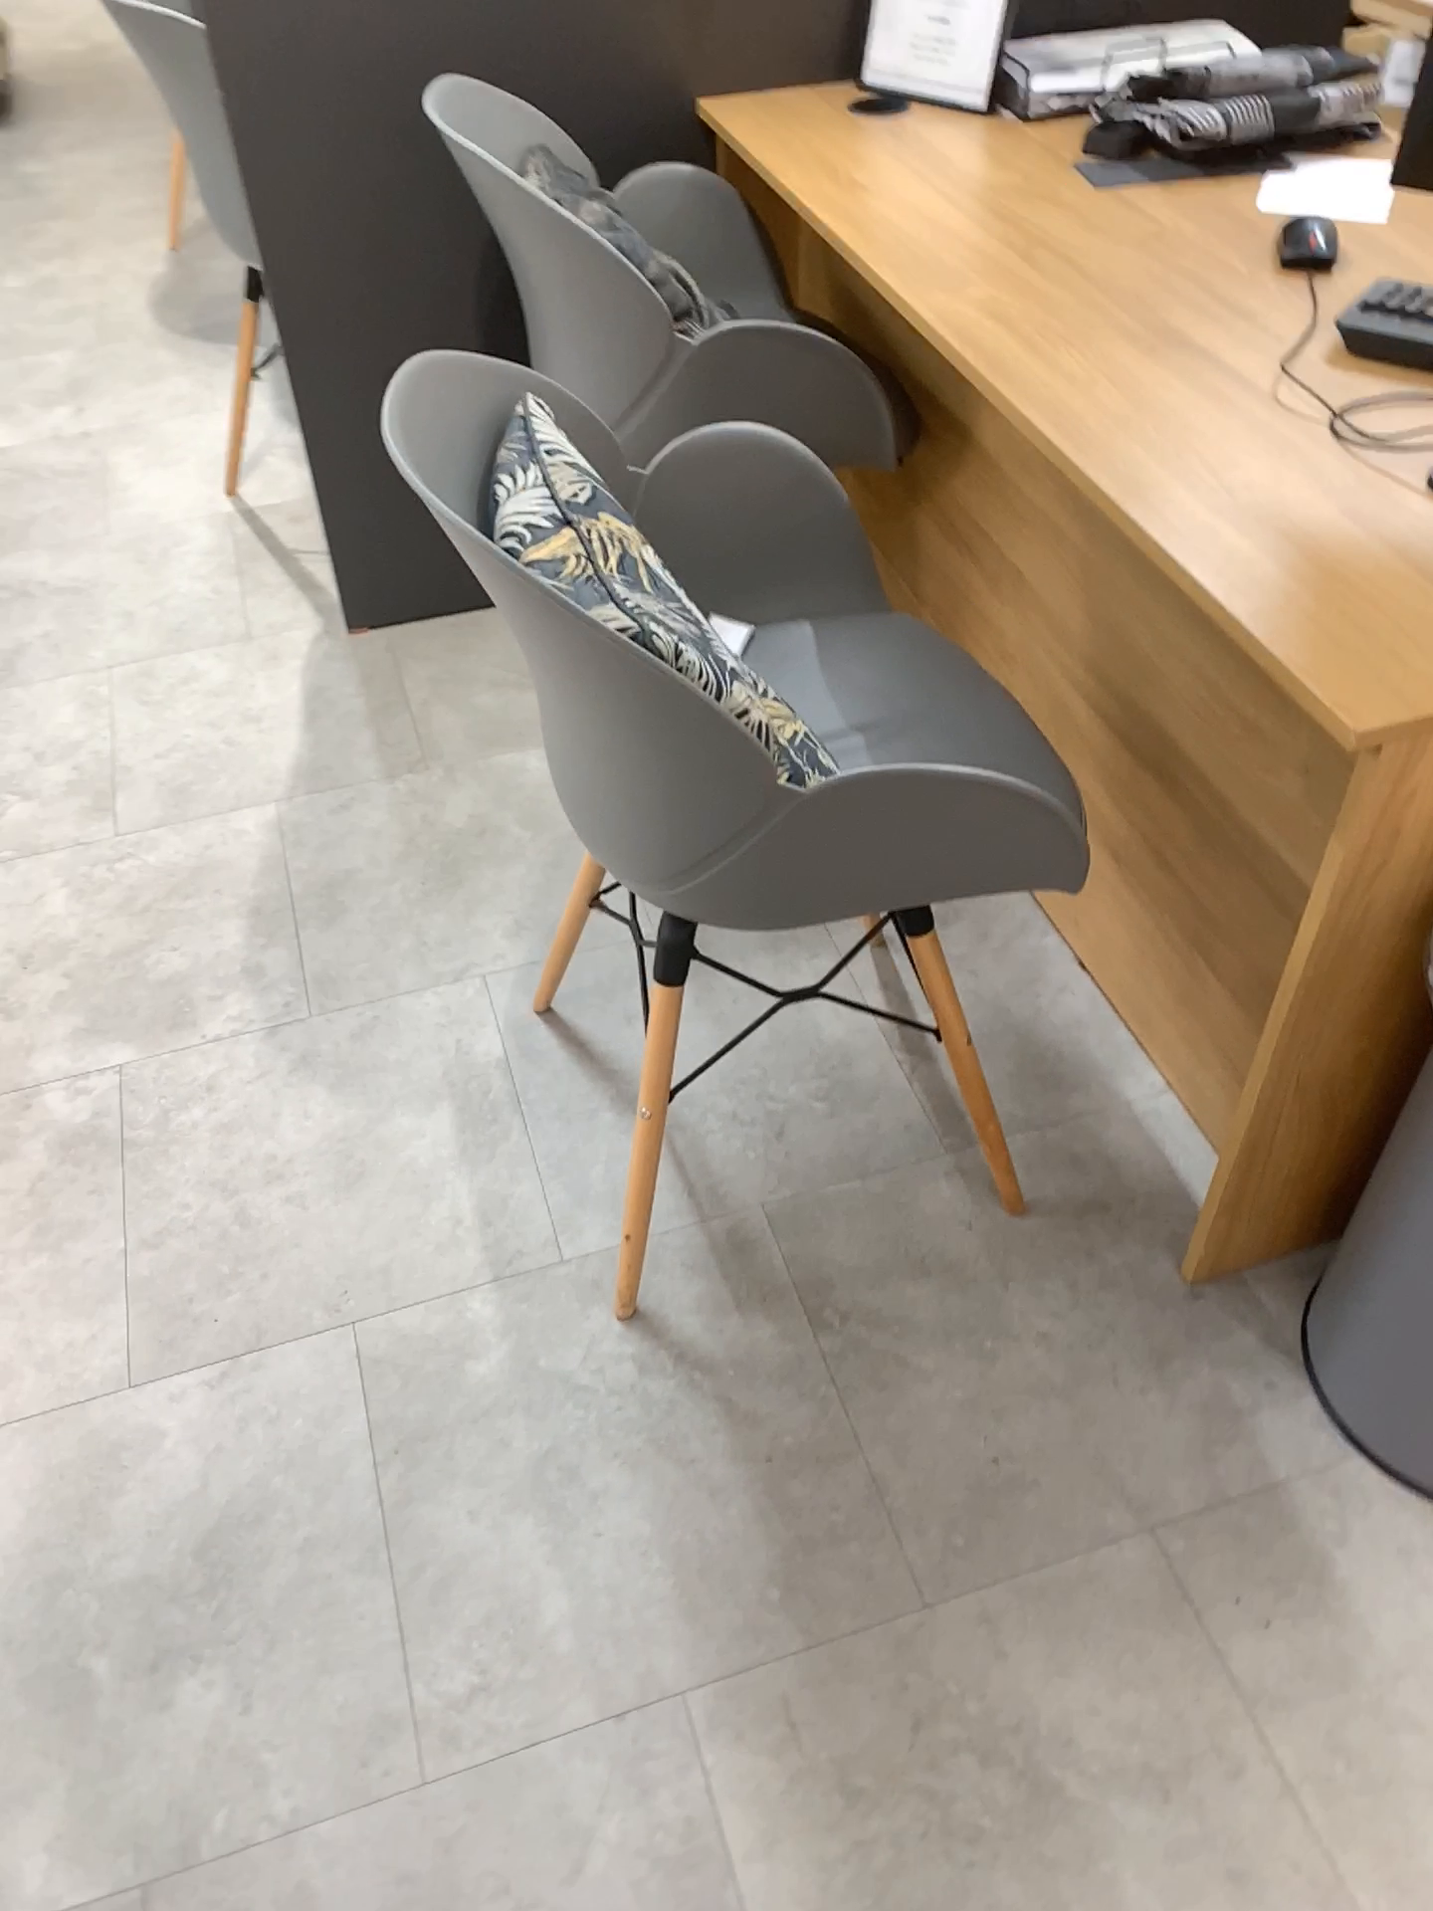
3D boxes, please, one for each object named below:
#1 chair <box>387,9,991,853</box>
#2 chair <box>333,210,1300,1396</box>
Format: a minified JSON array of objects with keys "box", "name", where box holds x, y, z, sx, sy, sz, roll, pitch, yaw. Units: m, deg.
[{"box":[-0.051,-0.682,1.921,0.546,0.808,0.592,-12,46,-10],"name":"chair"},{"box":[0.032,-0.129,1.353,0.546,0.808,0.603,-12,46,-10],"name":"chair"}]
